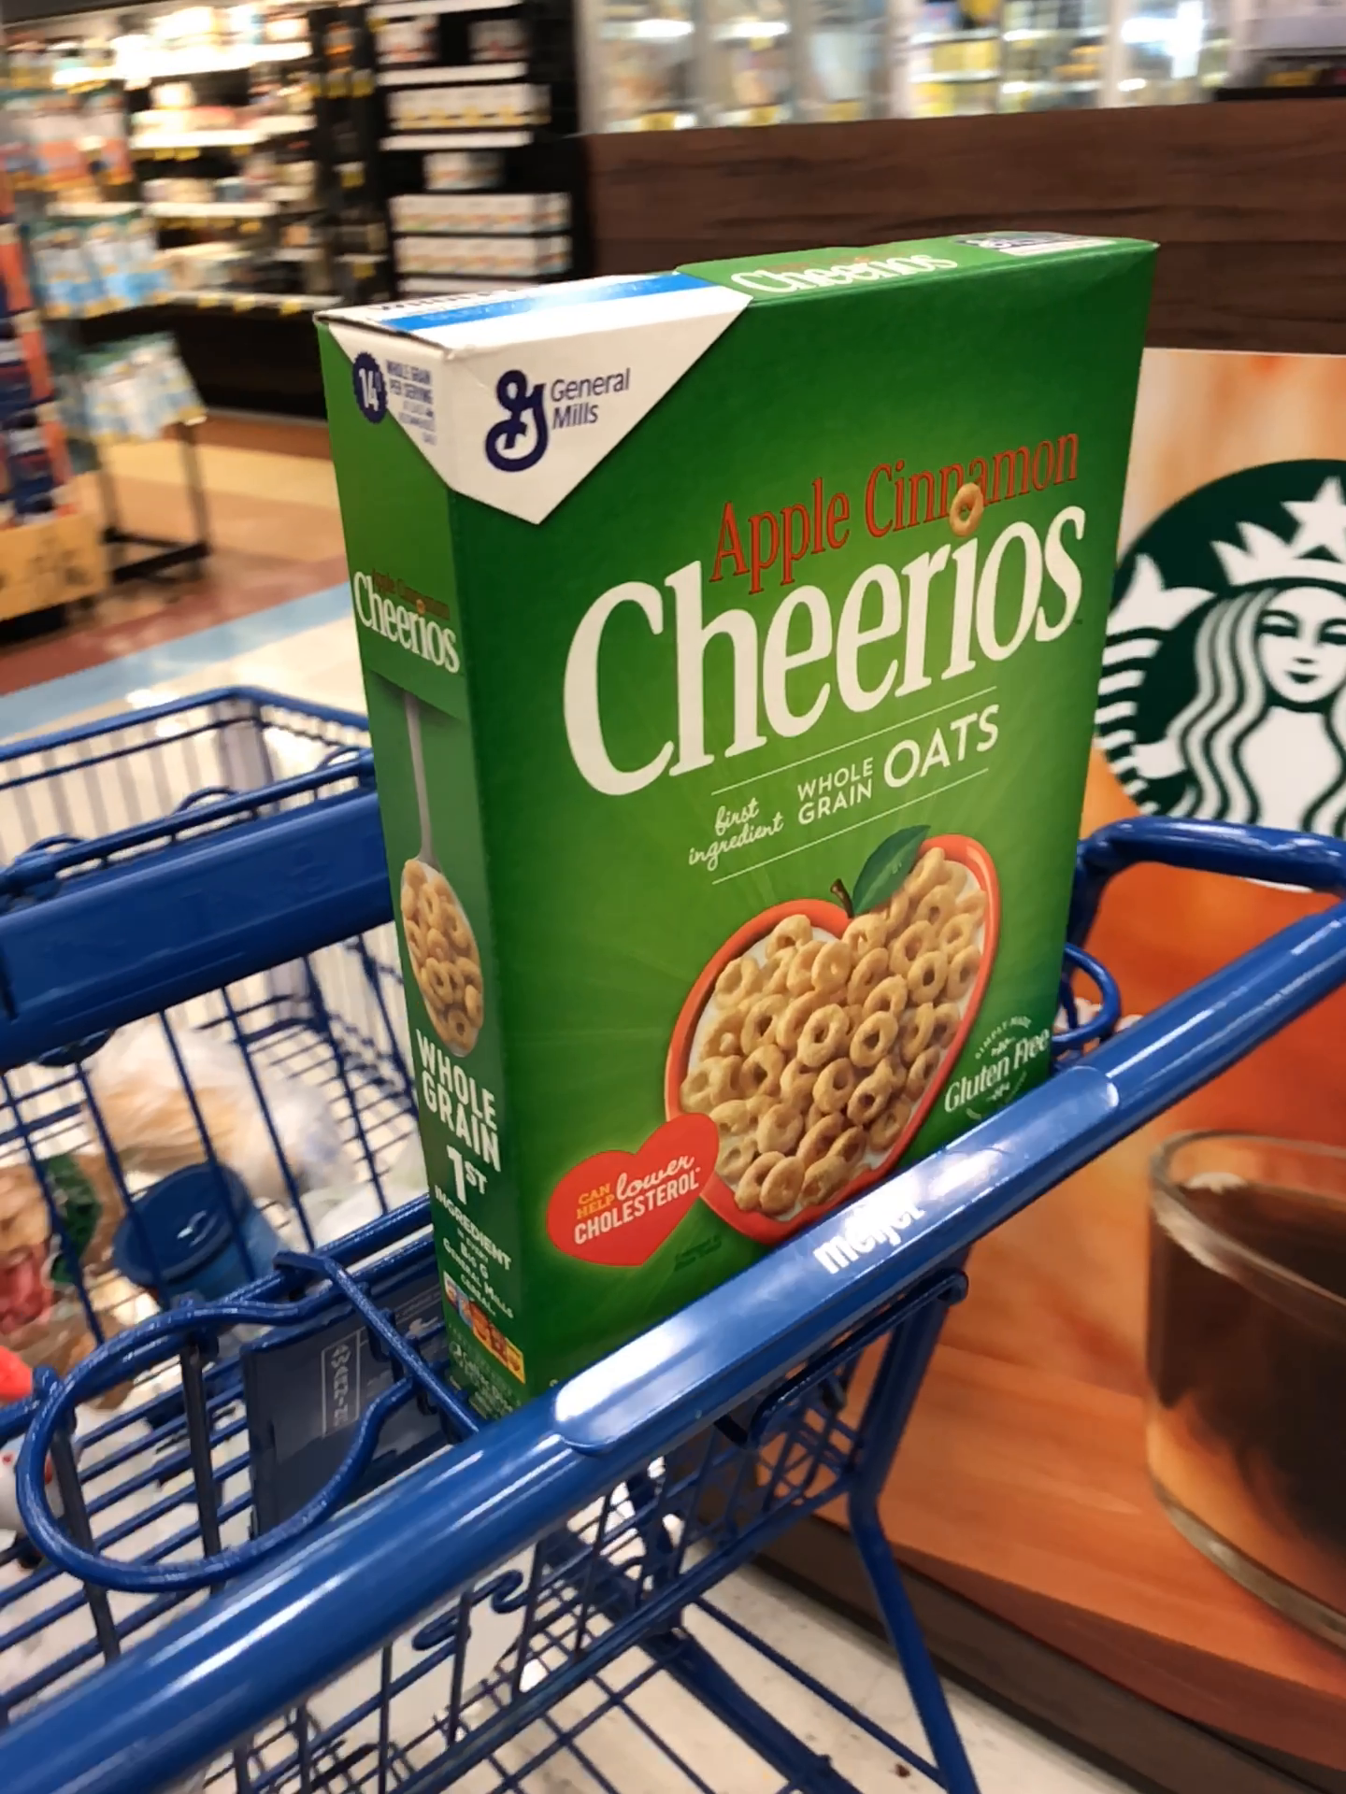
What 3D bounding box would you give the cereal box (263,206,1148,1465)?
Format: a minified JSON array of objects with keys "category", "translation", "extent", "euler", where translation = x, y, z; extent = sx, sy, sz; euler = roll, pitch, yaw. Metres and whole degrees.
[{"category":"cereal box","translation":[0.023,-0.021,0.382],"extent":[0.210,0.269,0.050],"euler":[-24,35,-35]}]
